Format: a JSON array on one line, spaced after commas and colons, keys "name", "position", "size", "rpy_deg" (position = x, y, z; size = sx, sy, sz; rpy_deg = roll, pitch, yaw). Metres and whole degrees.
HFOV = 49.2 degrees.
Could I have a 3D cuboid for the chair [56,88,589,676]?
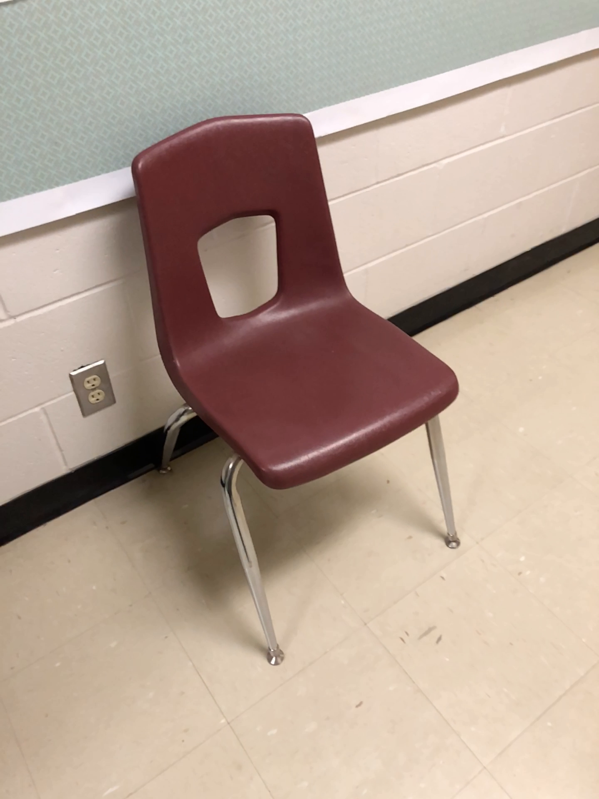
[{"name": "chair", "position": [0.008, -0.042, 1.141], "size": [0.504, 0.707, 0.556], "rpy_deg": [-25, 49, -23]}]
